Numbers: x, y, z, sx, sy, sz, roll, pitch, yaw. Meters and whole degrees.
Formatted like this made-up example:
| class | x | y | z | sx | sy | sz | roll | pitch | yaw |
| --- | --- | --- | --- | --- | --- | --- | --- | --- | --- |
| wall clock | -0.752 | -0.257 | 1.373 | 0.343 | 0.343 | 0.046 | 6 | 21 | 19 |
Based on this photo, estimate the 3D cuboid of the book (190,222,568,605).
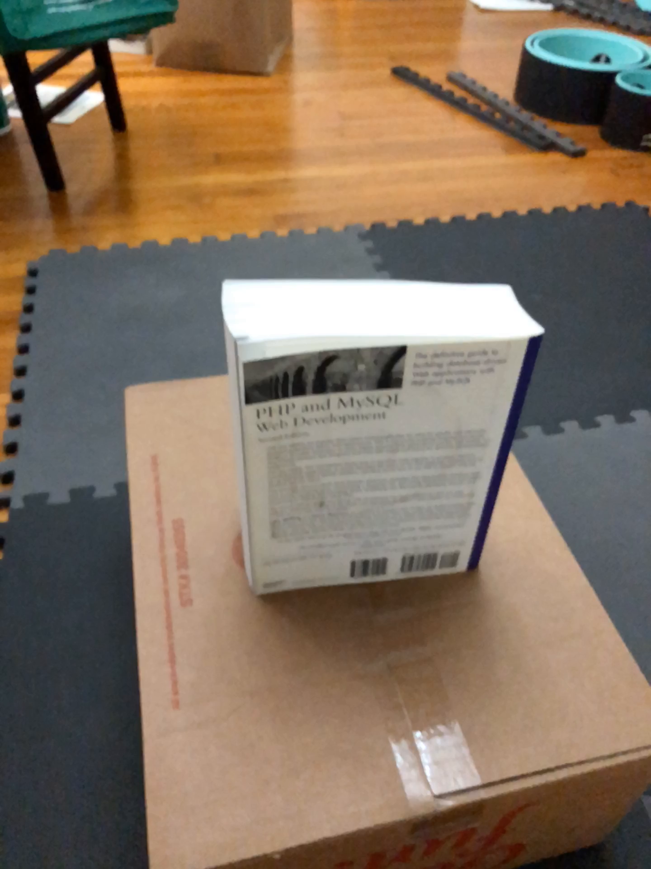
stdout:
| class | x | y | z | sx | sy | sz | roll | pitch | yaw |
| --- | --- | --- | --- | --- | --- | --- | --- | --- | --- |
| book | 0.026 | -0.001 | 0.503 | 0.200 | 0.258 | 0.091 | 3 | 42 | 1 |
